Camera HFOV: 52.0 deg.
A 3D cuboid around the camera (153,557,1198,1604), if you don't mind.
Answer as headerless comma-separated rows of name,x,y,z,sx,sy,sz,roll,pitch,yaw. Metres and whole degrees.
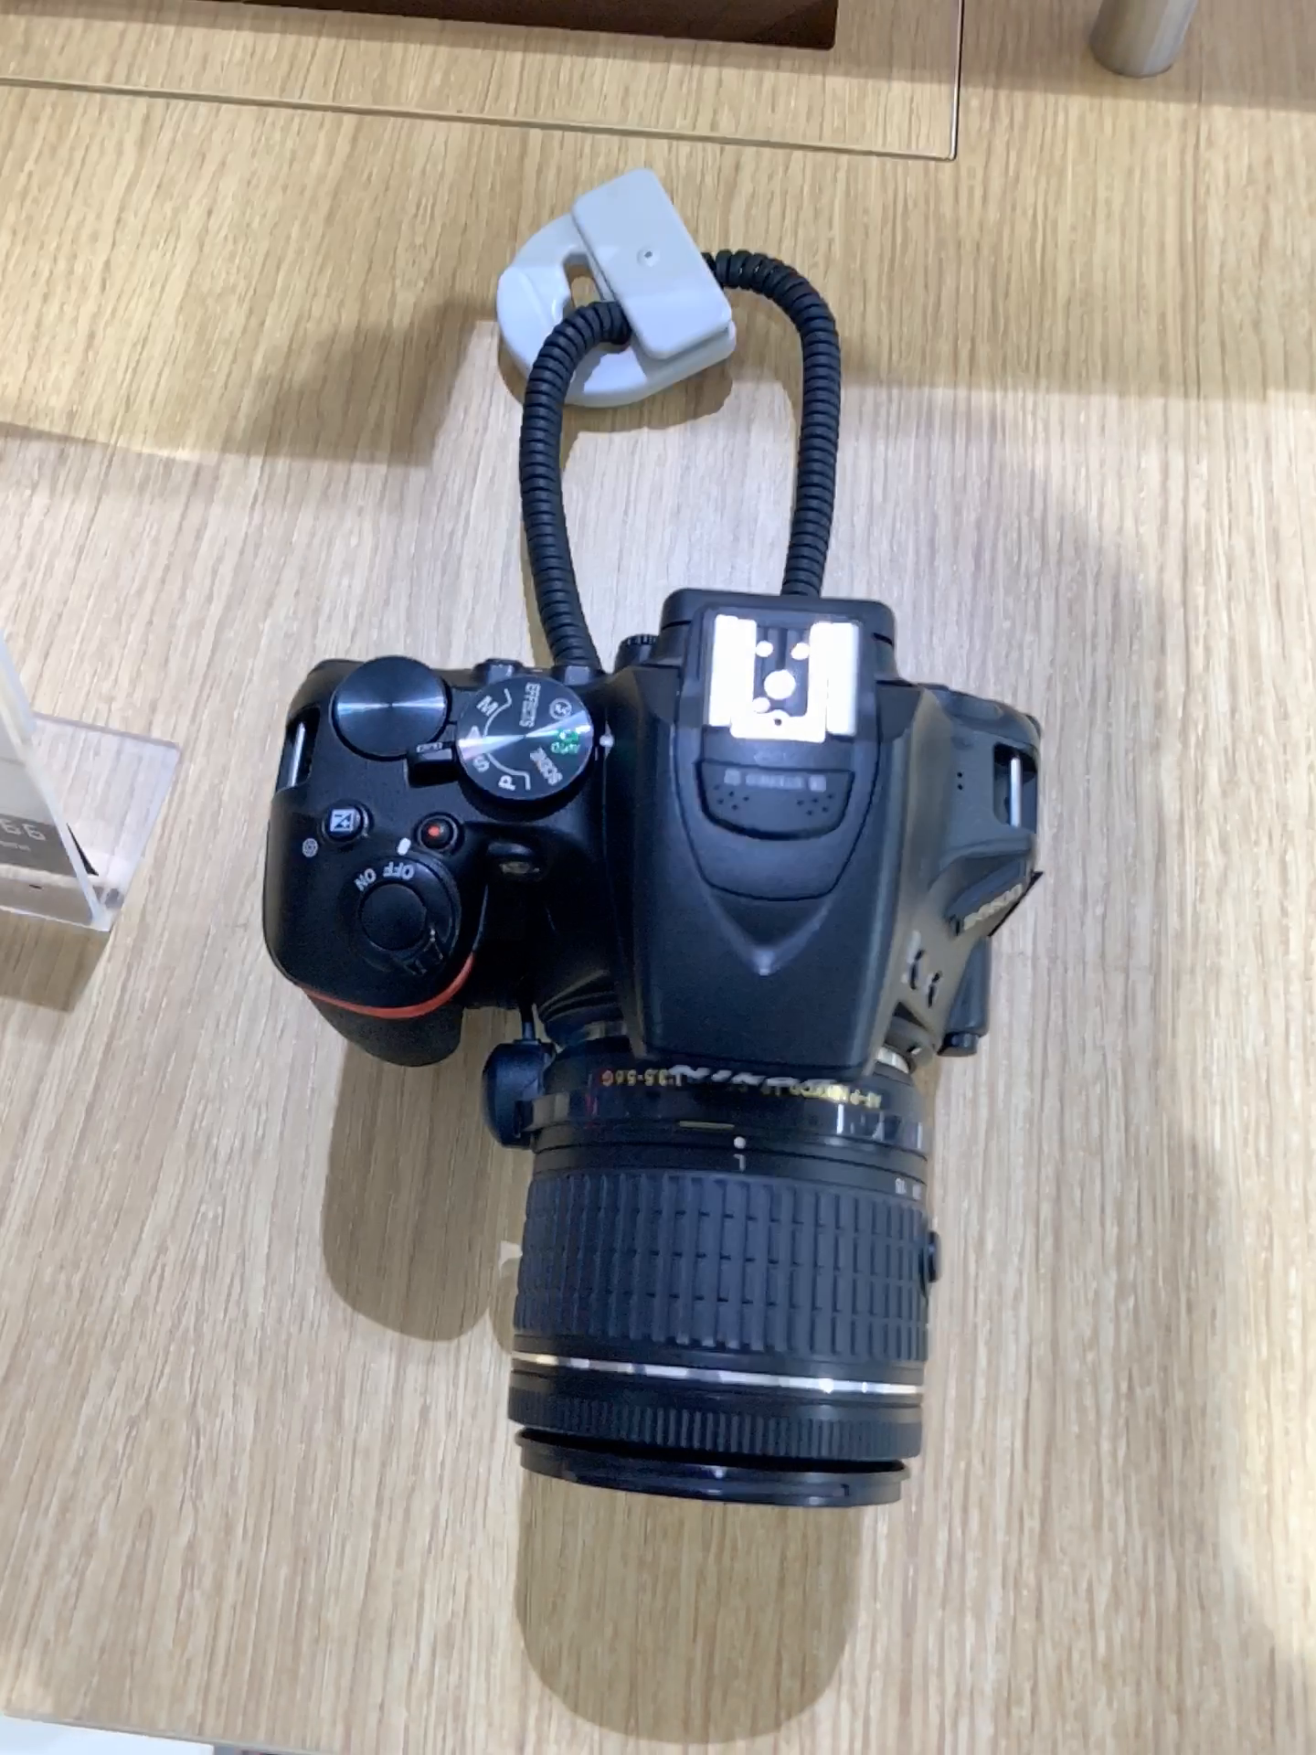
camera,0.005,0.030,0.199,0.110,0.080,0.120,3,71,1
